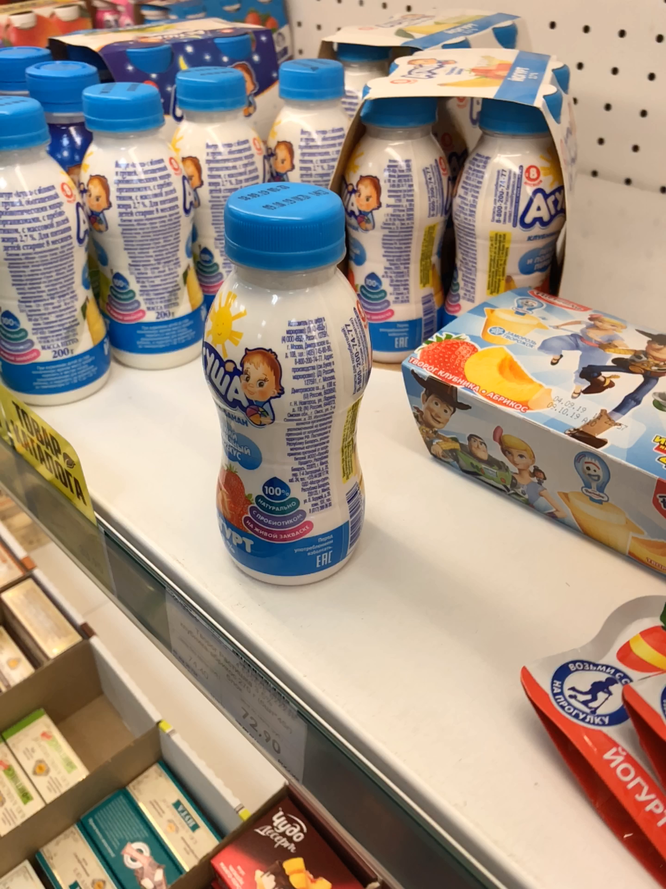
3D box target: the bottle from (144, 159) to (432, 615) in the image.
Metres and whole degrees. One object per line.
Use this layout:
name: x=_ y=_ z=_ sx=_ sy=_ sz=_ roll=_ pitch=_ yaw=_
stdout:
bottle: x=-0.014 y=-0.018 z=0.251 sx=0.060 sy=0.129 sz=0.060 roll=0 pitch=36 yaw=0
